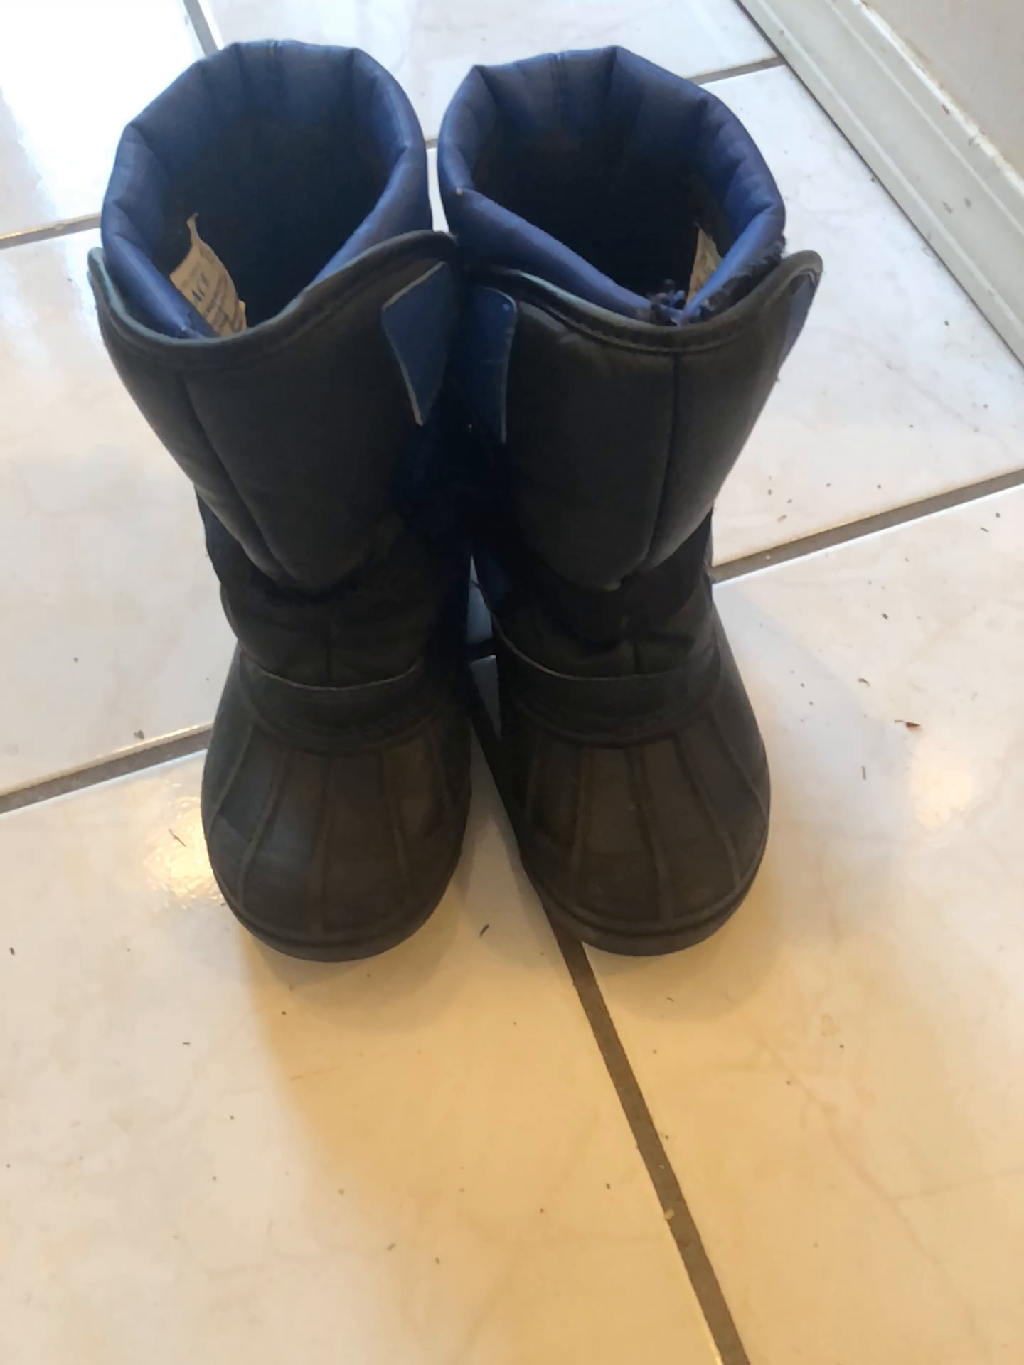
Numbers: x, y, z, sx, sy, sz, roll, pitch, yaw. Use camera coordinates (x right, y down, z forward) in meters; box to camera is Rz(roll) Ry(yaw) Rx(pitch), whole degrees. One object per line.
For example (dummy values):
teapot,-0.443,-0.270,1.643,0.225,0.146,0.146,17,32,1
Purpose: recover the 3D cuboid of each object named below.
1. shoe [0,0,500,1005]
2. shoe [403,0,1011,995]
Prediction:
shoe,-0.063,-0.048,0.335,0.100,0.199,0.231,-4,61,-2
shoe,0.031,-0.056,0.356,0.100,0.199,0.251,-5,61,-2
